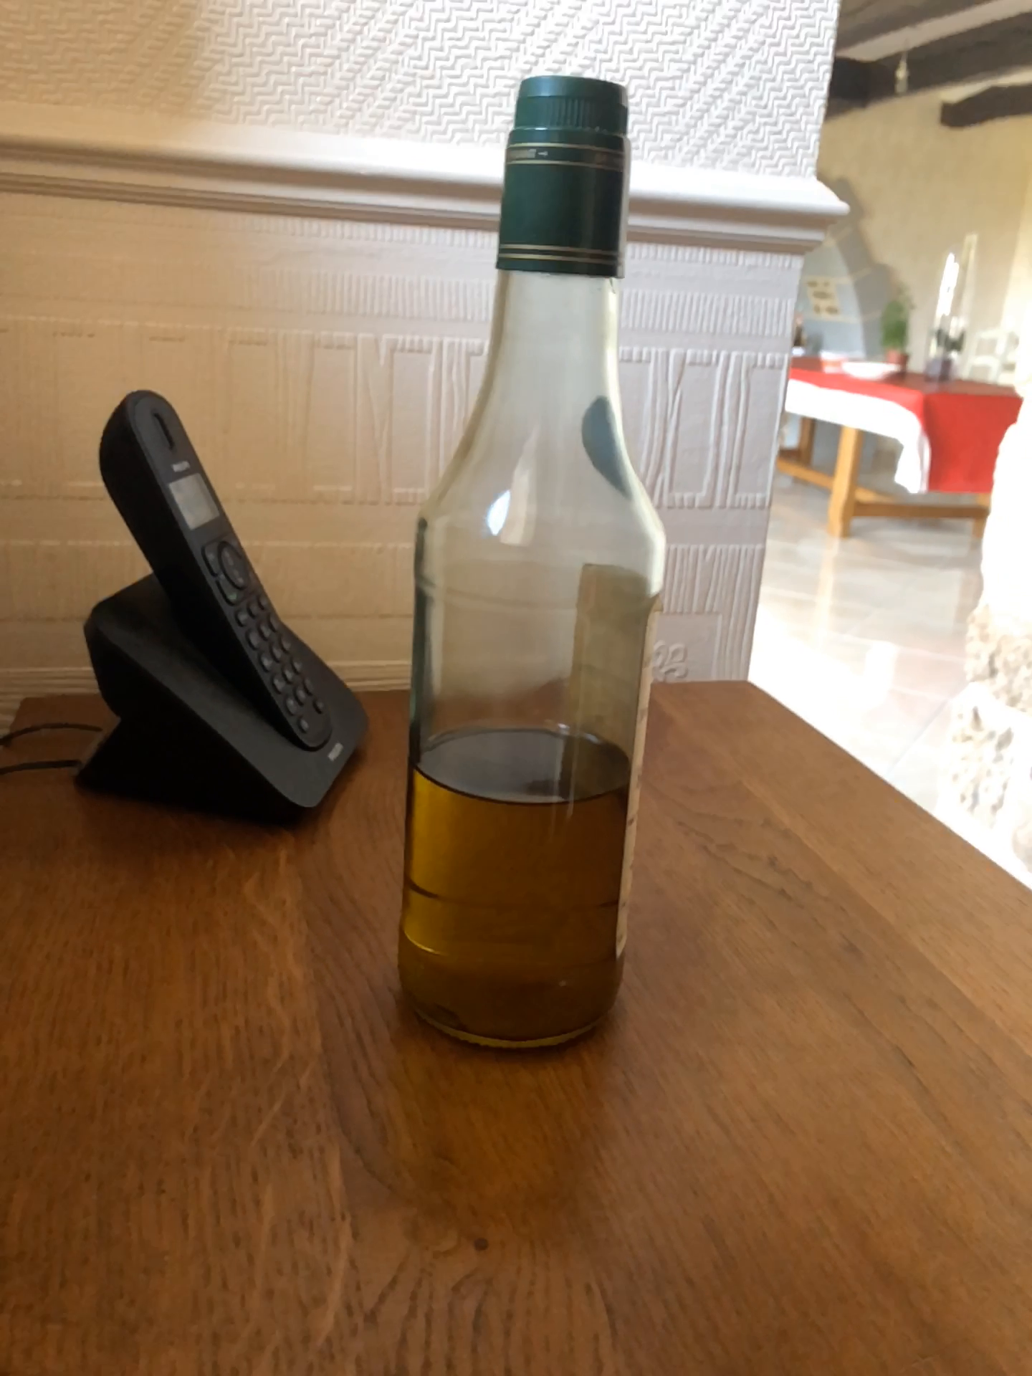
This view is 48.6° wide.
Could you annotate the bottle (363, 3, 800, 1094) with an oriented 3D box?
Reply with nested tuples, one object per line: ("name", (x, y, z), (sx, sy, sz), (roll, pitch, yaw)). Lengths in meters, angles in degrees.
("bottle", (0.006, -0.026, 0.310), (0.080, 0.259, 0.070), (-1, 19, -15))
